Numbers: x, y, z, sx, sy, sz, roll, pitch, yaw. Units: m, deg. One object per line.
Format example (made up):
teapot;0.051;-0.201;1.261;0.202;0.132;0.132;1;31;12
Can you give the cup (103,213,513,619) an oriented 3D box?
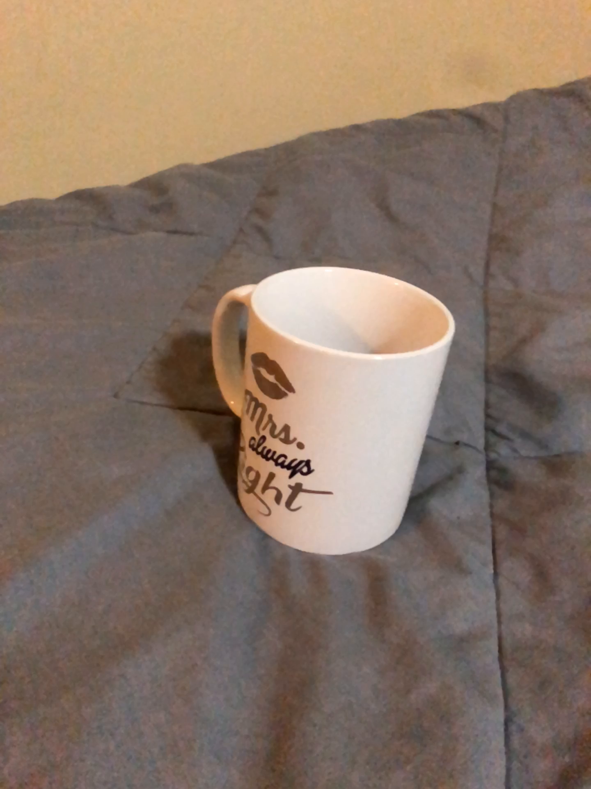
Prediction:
cup;-0.003;-0.004;0.321;0.110;0.110;0.150;-23;43;-36
